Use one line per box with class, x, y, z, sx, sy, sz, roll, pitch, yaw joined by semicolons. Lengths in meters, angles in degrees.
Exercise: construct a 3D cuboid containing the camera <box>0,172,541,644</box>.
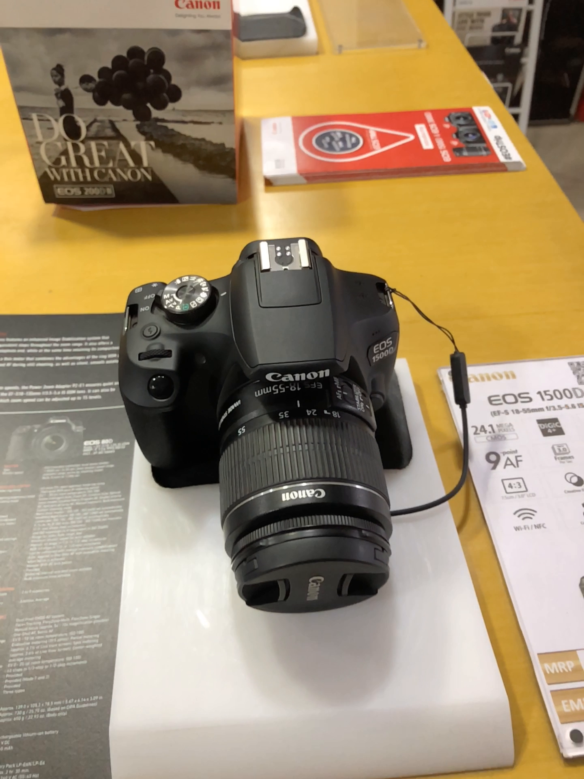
camera;-0.012;0.000;0.244;0.140;0.089;0.141;-5;47;-3
